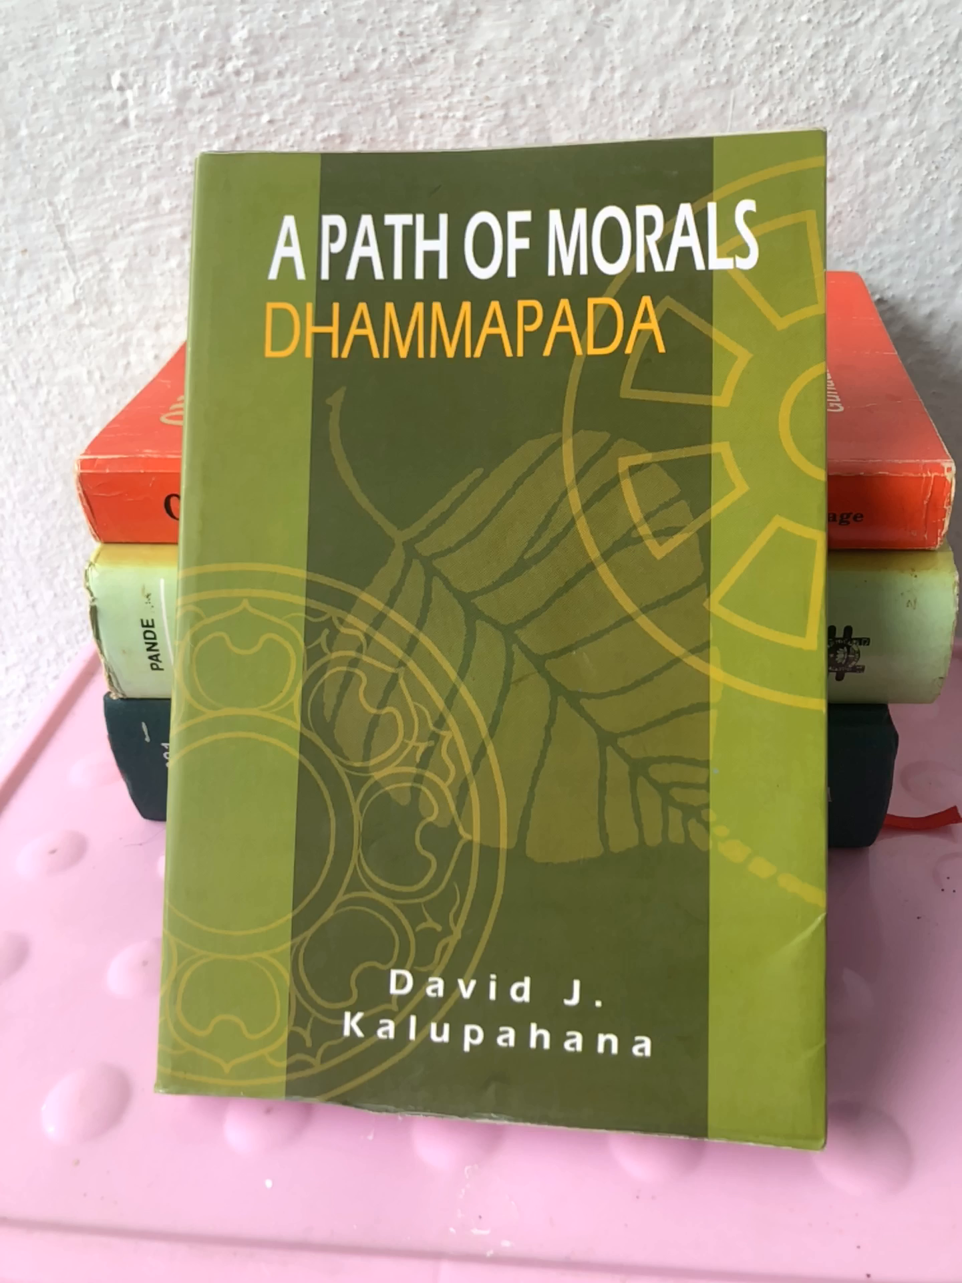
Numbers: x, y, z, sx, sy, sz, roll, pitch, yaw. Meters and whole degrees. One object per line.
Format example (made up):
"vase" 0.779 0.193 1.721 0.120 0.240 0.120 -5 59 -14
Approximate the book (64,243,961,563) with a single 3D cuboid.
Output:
"book" 0.013 -0.078 0.322 0.210 0.030 0.161 0 34 8

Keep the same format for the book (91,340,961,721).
"book" 0.018 -0.043 0.328 0.210 0.040 0.161 0 34 8

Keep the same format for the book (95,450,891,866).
"book" 0.011 -0.006 0.359 0.210 0.050 0.161 1 34 10

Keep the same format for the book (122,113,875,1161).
"book" 0.006 -0.006 0.243 0.150 0.210 0.040 2 -5 7
